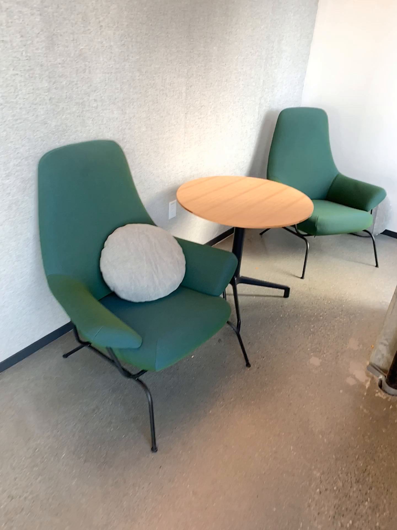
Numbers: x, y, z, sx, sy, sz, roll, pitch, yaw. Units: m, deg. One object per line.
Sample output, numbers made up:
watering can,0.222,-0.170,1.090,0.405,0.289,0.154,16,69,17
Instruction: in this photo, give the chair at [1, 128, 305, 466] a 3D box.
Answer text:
chair,-0.192,0.041,1.848,0.853,1.033,0.832,26,36,32

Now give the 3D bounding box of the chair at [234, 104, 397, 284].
chair,0.897,-0.584,2.979,0.820,0.954,1.006,-7,32,-19
